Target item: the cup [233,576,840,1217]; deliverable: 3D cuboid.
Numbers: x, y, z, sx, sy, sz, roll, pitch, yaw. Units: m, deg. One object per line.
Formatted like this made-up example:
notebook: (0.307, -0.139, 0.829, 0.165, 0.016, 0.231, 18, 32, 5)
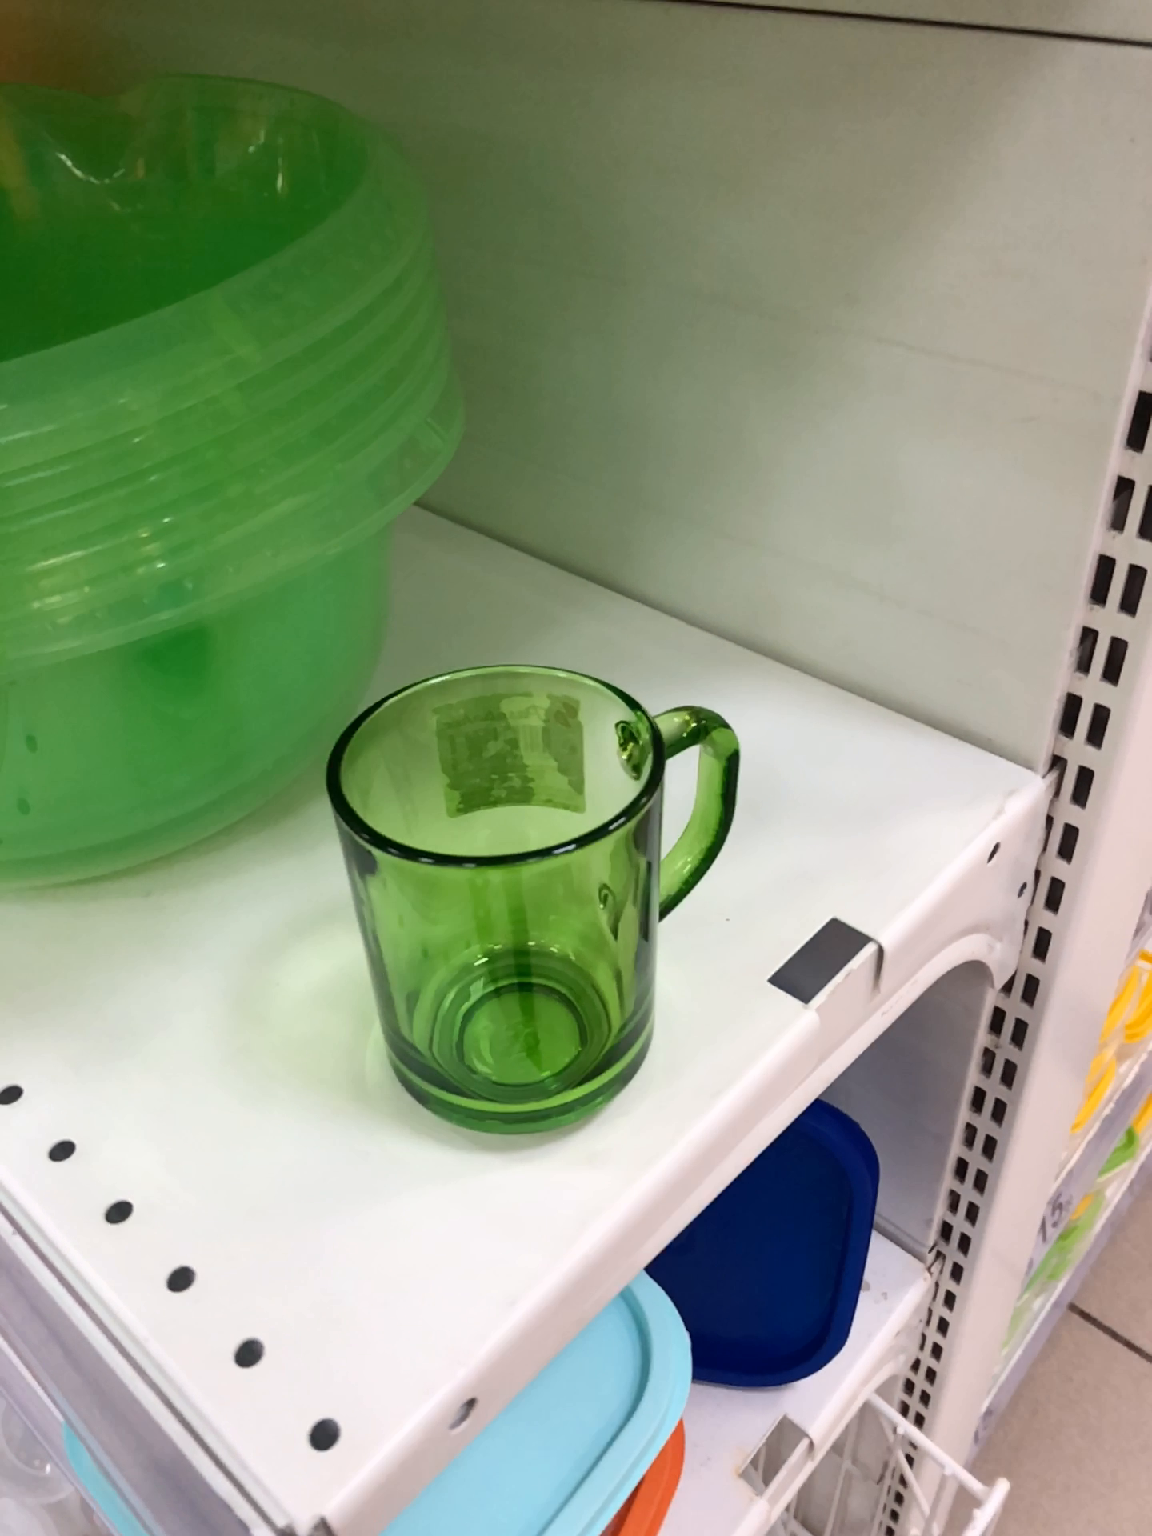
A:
cup: (-0.006, 0.025, 0.300, 0.110, 0.086, 0.073, -28, 44, -28)
